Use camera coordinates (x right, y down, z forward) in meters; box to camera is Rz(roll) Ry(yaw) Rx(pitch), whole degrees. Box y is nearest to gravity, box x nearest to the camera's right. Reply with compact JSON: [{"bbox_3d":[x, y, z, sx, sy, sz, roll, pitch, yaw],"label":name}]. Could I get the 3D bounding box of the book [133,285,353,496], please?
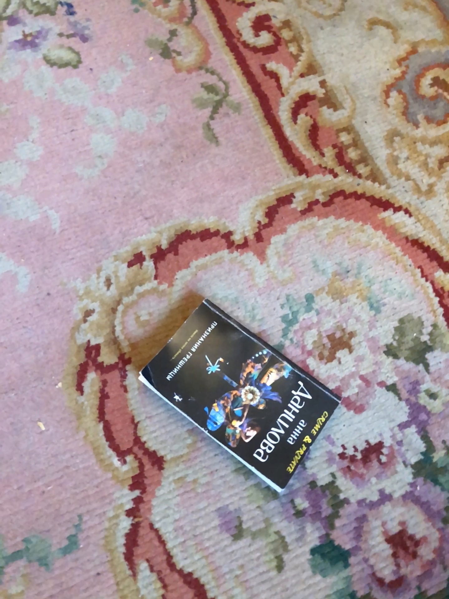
[{"bbox_3d":[0.016,0.083,0.468,0.165,0.050,0.110,37,73,9],"label":"book"}]
